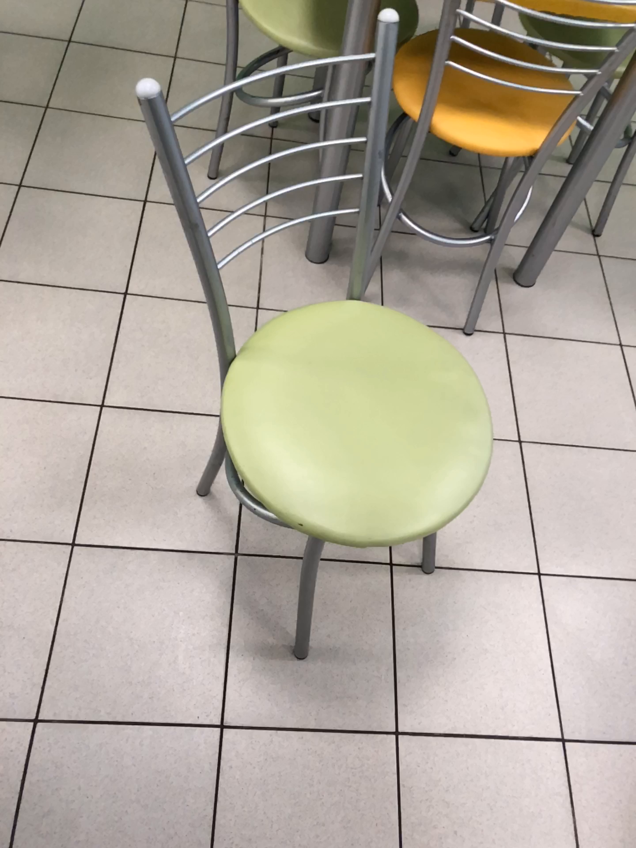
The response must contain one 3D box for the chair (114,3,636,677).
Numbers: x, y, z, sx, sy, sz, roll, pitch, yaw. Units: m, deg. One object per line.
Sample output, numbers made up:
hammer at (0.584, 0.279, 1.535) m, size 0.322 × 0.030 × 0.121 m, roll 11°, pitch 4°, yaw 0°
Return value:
chair at (0.034, -0.026, 1.011) m, size 0.375 × 0.826 × 0.480 m, roll -28°, pitch 68°, yaw -22°
